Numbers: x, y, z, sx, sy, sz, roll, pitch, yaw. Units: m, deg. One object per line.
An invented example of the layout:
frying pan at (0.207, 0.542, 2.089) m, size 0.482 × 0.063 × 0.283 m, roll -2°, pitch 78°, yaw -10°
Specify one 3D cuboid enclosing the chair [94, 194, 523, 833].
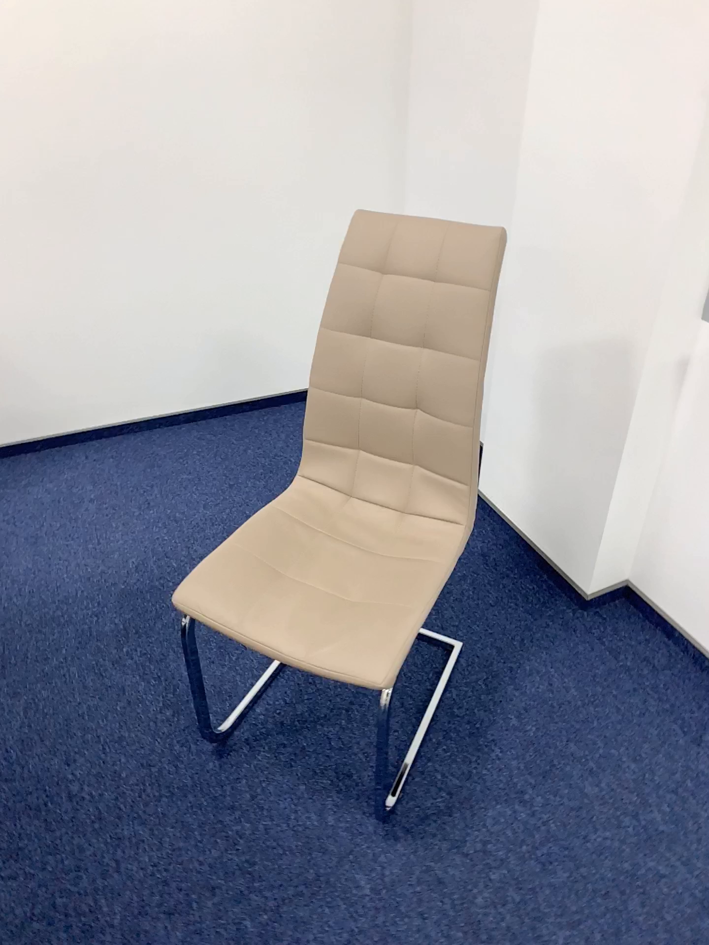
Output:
chair at (-0.038, 0.072, 1.356) m, size 0.440 × 0.985 × 0.533 m, roll 15°, pitch 36°, yaw 21°
